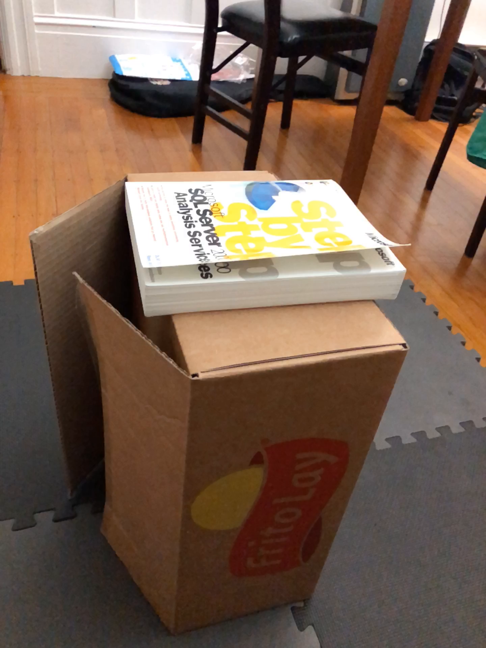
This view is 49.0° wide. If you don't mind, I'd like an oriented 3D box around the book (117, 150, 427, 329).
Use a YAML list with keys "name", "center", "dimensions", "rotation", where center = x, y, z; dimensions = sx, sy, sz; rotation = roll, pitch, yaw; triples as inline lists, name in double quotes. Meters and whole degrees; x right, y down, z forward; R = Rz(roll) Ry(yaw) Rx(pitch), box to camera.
- name: "book"
  center: [0.013, -0.095, 0.512]
  dimensions: [0.240, 0.050, 0.201]
  rotation: [-7, 44, -15]
